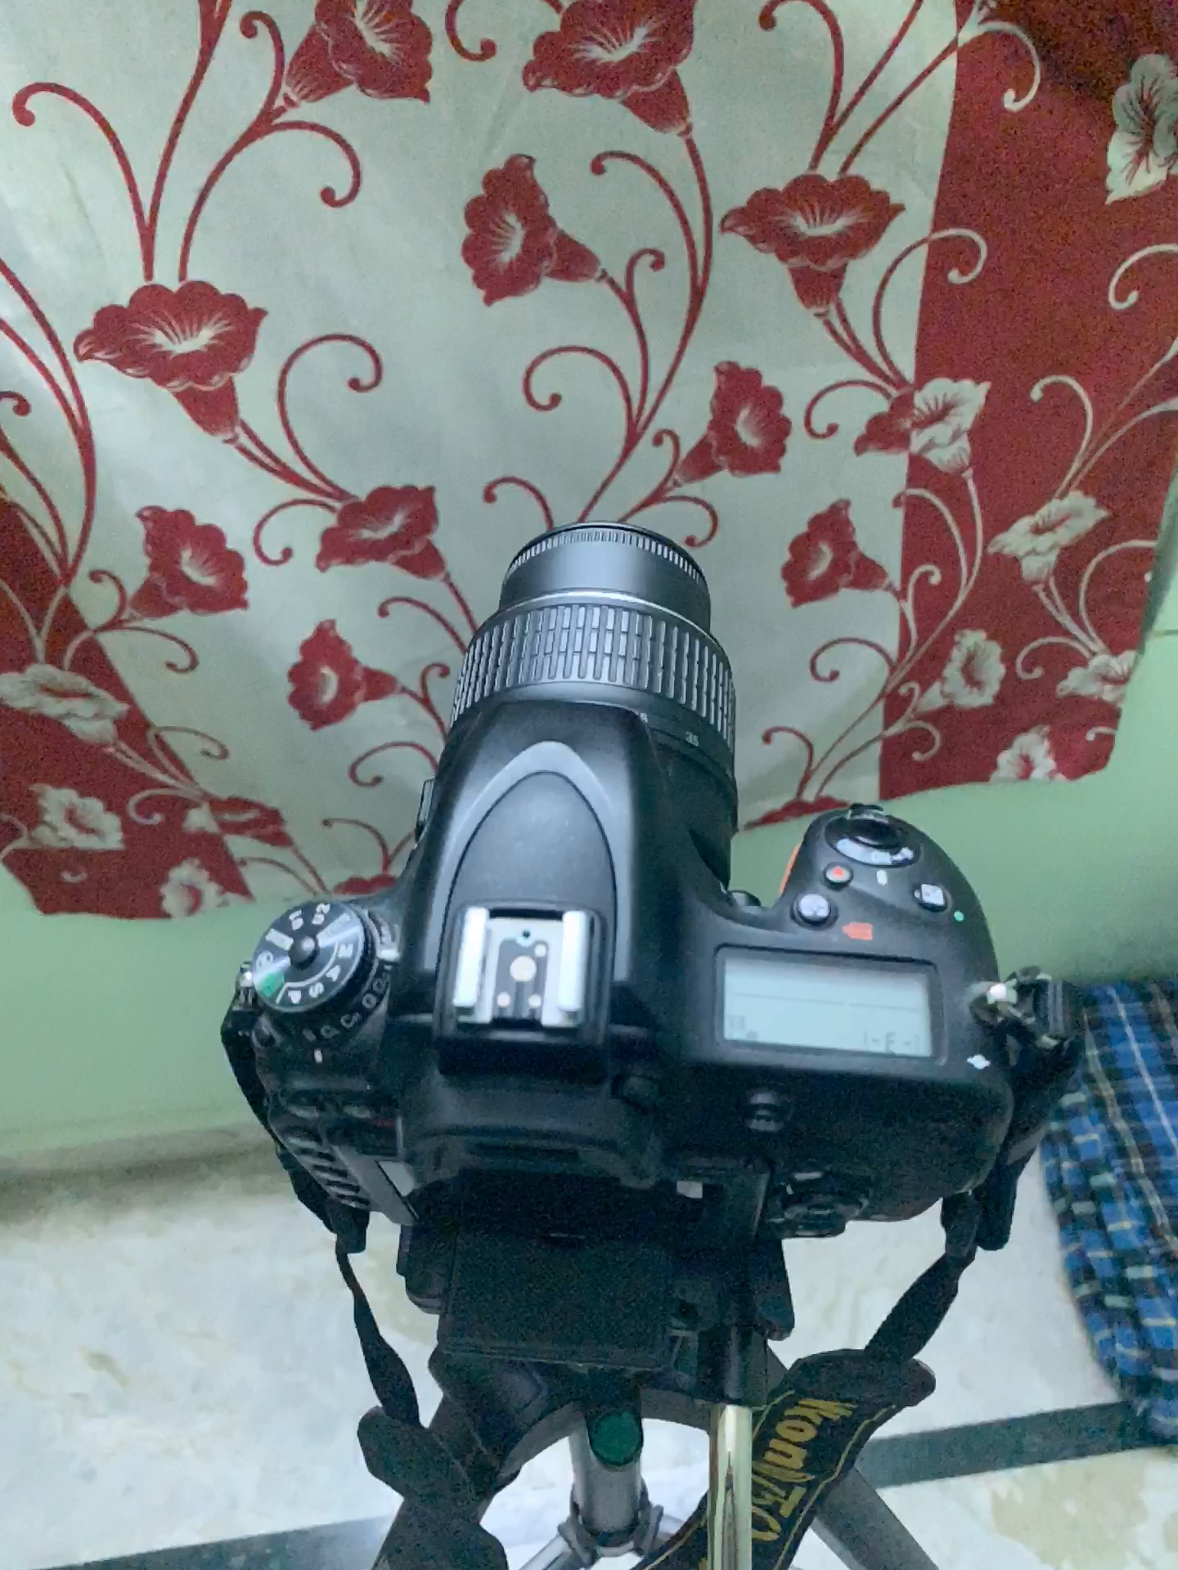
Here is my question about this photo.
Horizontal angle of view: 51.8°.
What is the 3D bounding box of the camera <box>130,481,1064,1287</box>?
[{"bbox_3d":[0.006,0.020,0.265,0.139,0.112,0.129,2,49,4],"label":"camera"}]
